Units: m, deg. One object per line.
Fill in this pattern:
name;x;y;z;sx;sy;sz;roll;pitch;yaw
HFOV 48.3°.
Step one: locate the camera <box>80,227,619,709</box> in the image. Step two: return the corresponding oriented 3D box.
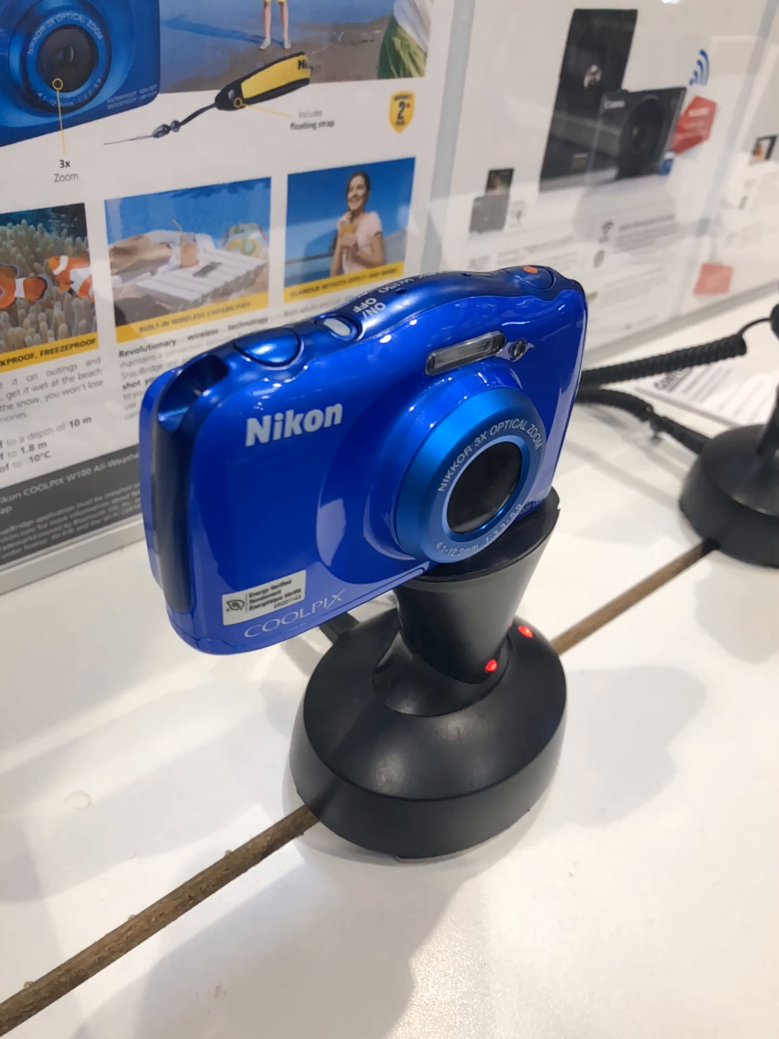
camera;-0.005;-0.017;0.180;0.100;0.060;0.040;-26;48;-37
